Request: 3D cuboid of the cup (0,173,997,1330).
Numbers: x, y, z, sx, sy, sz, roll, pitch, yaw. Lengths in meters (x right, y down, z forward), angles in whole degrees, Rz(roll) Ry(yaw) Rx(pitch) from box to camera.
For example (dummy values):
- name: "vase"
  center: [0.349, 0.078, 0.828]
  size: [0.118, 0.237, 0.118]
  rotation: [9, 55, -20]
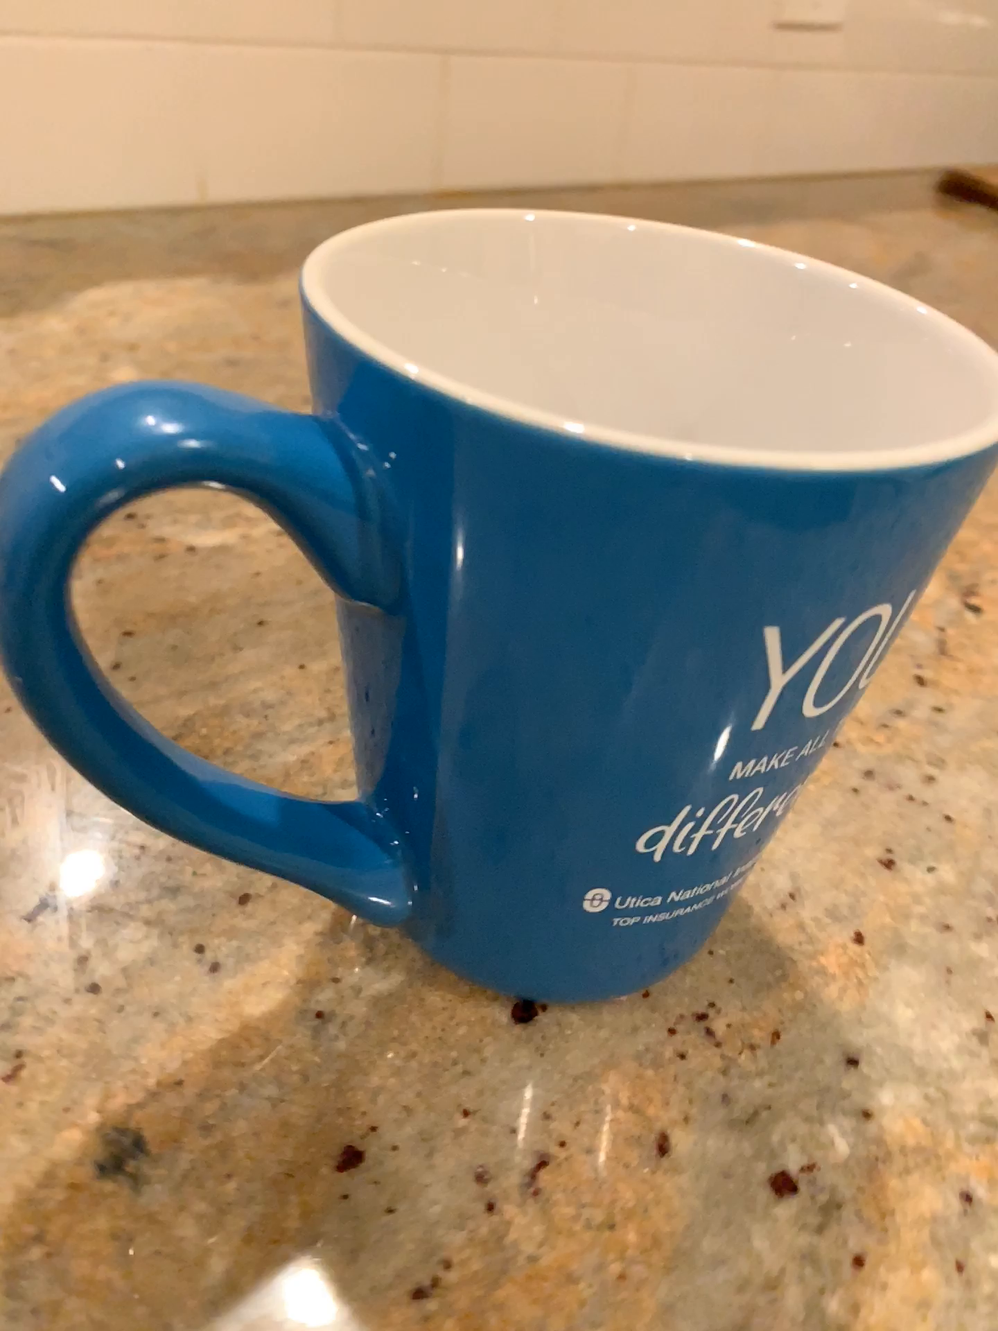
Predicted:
- name: "cup"
  center: [0.001, -0.004, 0.157]
  size: [0.138, 0.098, 0.099]
  rotation: [-25, 47, -36]
